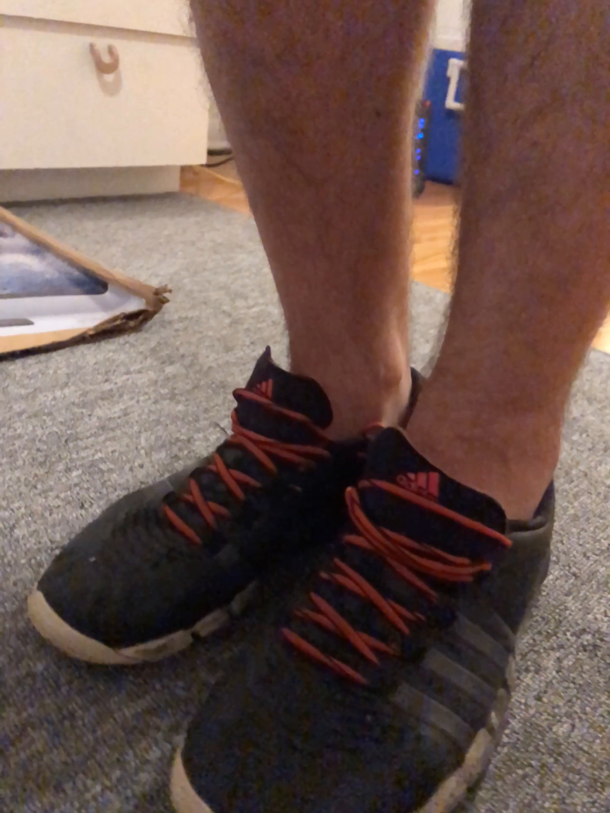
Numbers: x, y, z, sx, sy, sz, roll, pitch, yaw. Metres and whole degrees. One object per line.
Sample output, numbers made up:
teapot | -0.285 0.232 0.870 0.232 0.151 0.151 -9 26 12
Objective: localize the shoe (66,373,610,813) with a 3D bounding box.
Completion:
shoe | 0.056 0.090 0.349 0.130 0.089 0.322 24 32 29

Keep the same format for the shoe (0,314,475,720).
shoe | -0.039 0.034 0.417 0.301 0.099 0.120 -20 38 -41
